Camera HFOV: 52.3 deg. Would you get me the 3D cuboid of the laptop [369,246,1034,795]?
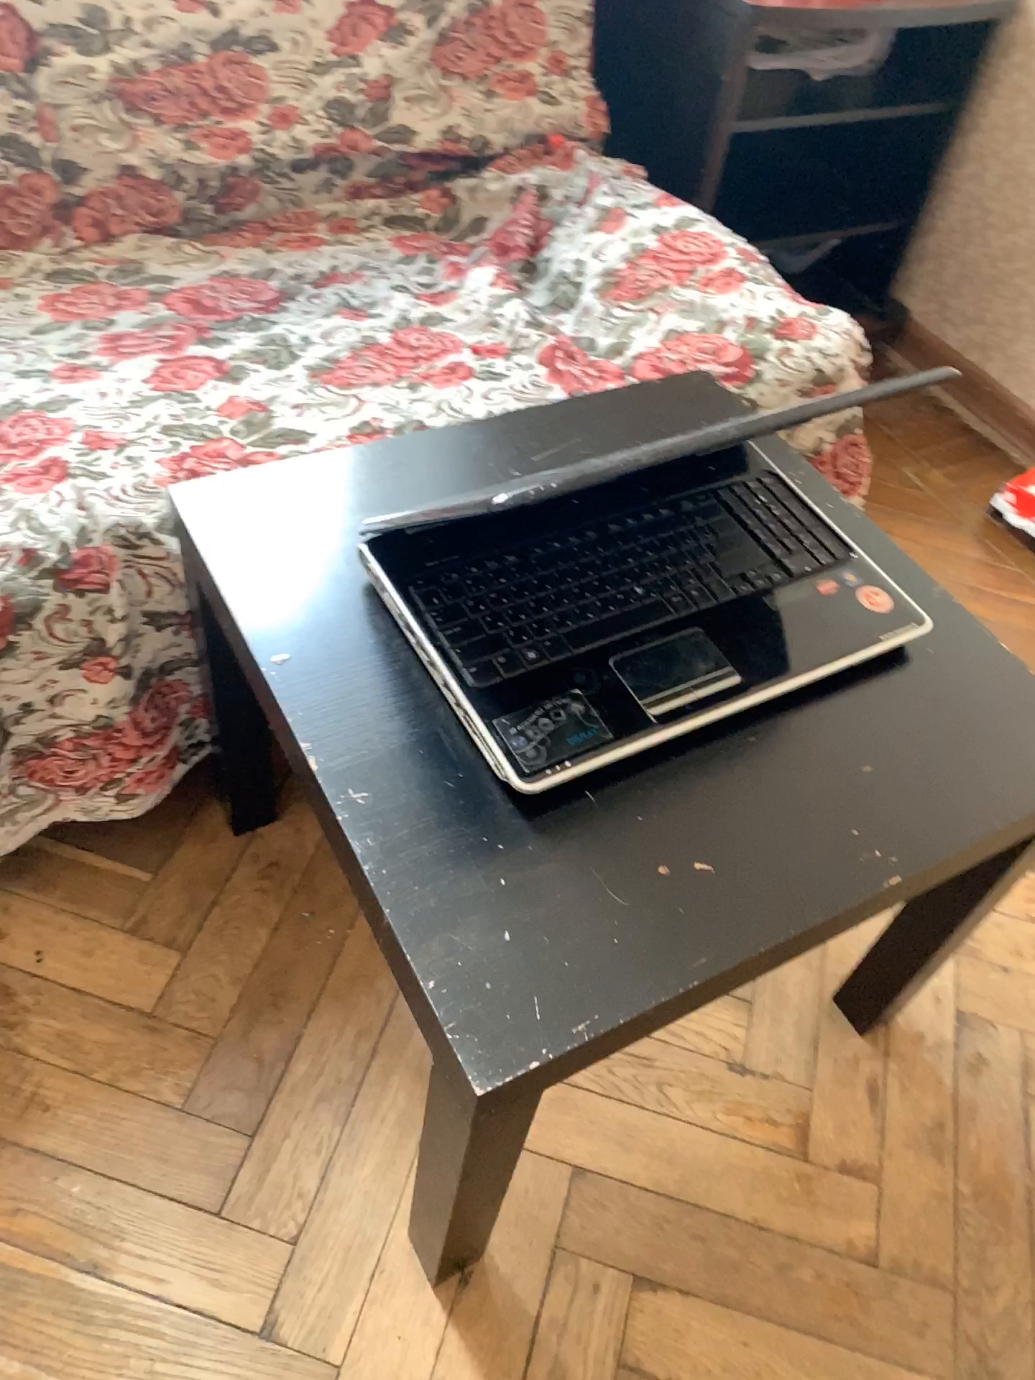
[{"bbox_3d":[0.117,-0.139,0.743,0.365,0.177,0.252,-20,55,-24],"label":"laptop"}]
